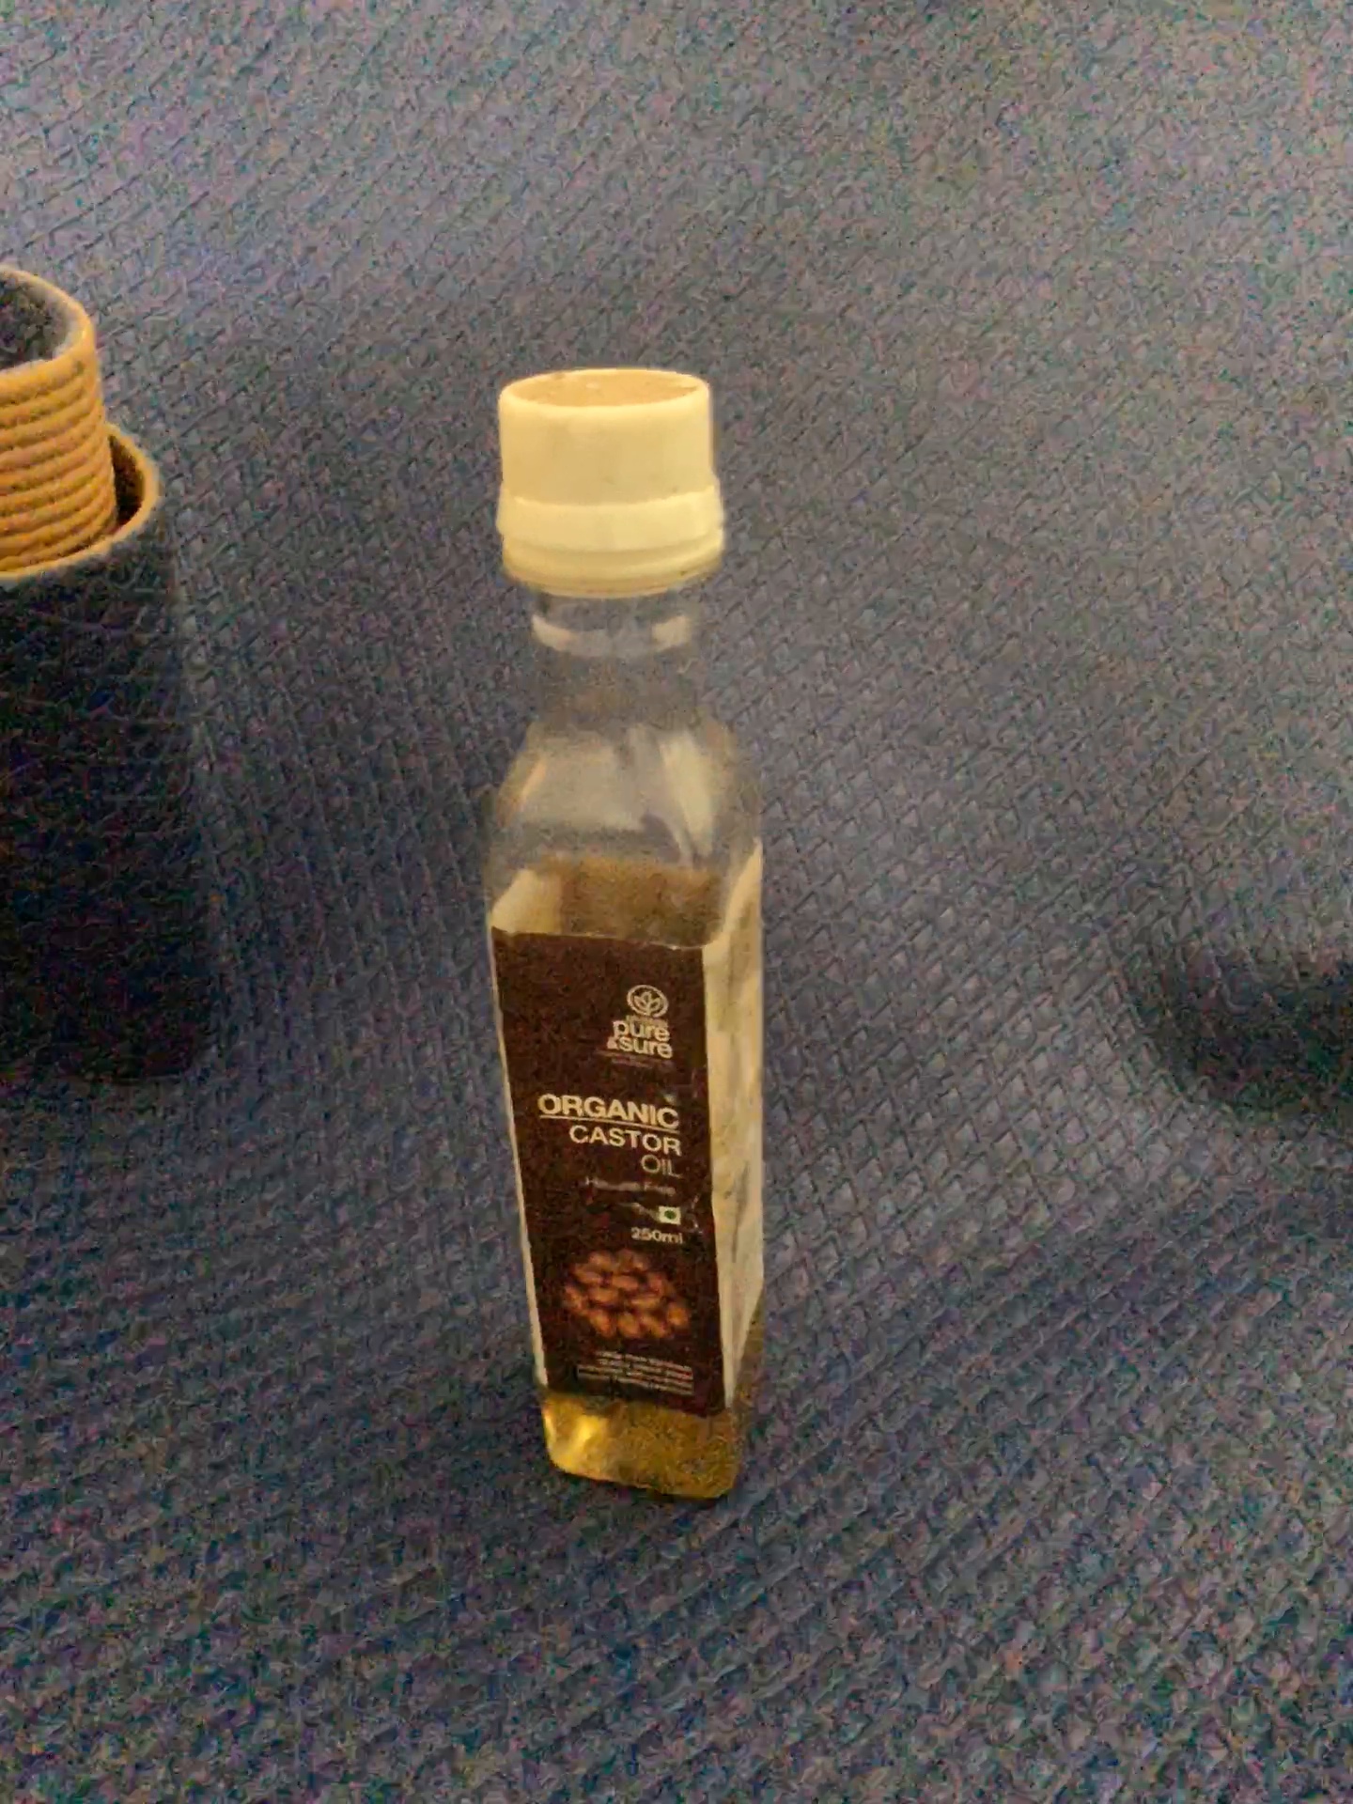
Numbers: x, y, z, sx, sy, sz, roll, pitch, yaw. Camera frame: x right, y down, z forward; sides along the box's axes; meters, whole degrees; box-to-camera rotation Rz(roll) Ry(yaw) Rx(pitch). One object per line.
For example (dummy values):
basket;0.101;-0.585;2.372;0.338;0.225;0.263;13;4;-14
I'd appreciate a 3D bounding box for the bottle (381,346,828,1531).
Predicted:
bottle;-0.006;0.014;0.241;0.050;0.198;0.050;-1;27;0
